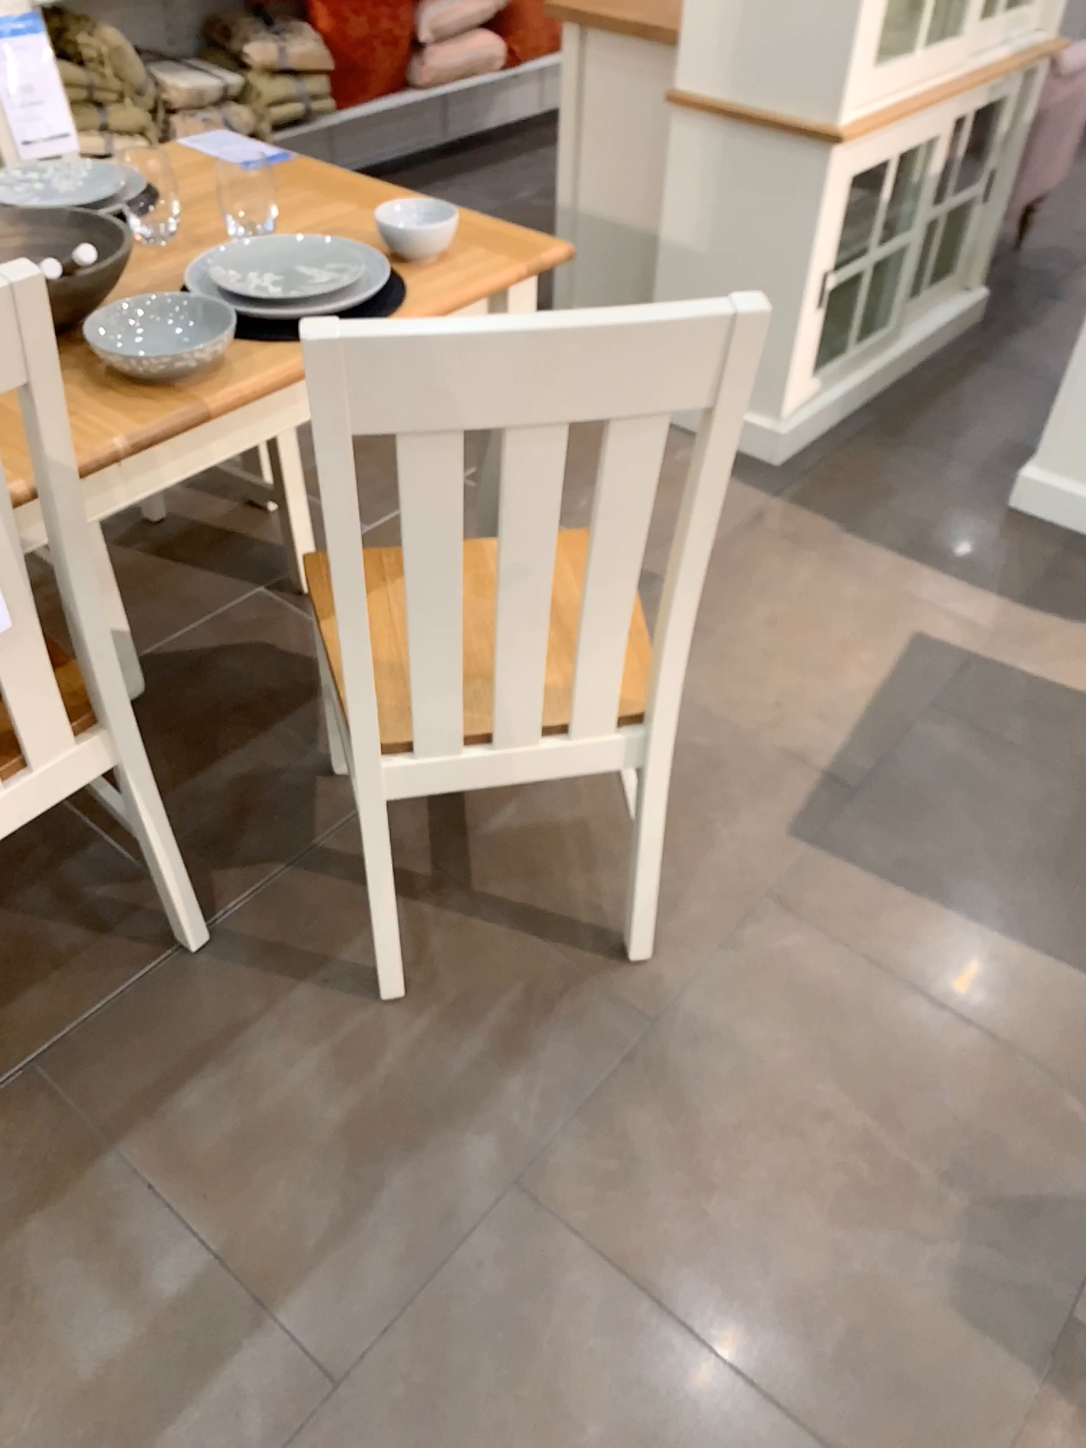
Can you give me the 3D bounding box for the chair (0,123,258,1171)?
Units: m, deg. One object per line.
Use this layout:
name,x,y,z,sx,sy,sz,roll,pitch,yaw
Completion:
chair,-0.744,-0.064,1.254,0.538,0.925,0.474,32,50,28

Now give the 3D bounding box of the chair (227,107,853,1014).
chair,-0.059,-0.176,1.396,0.502,0.925,0.550,-7,43,-10
